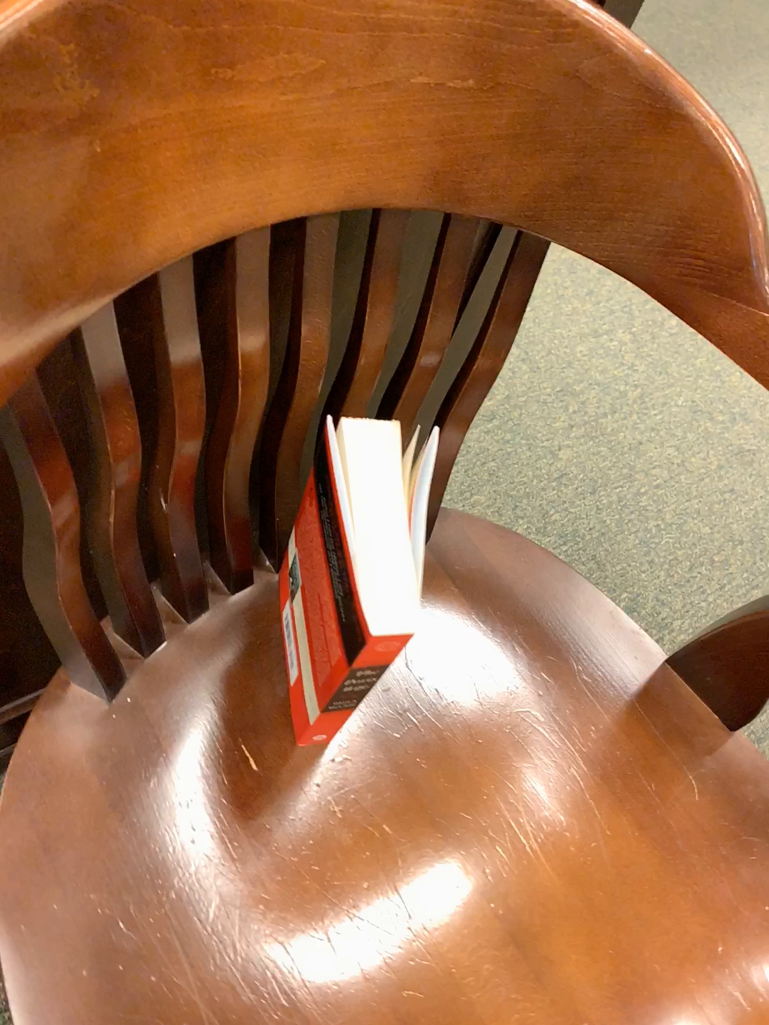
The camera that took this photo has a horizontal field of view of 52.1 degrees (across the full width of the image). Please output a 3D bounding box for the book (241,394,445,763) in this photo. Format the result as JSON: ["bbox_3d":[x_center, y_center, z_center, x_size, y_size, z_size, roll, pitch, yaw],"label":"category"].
[{"bbox_3d":[-0.035,0.053,0.496,0.071,0.199,0.150,8,56,-15],"label":"book"}]
